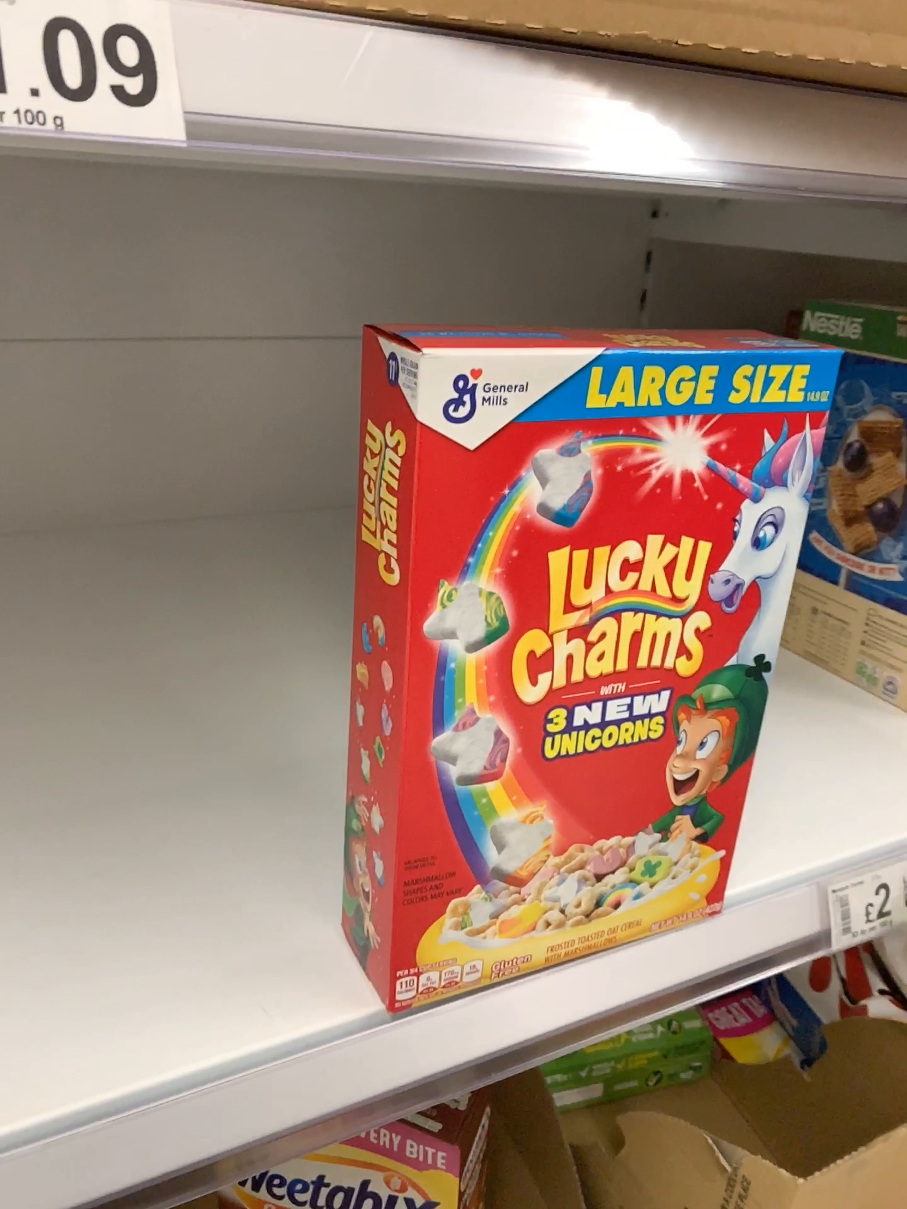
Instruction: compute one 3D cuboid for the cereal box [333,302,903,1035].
[{"bbox_3d":[0.060,0.023,0.412,0.210,0.288,0.070,-7,25,-24],"label":"cereal box"}]
